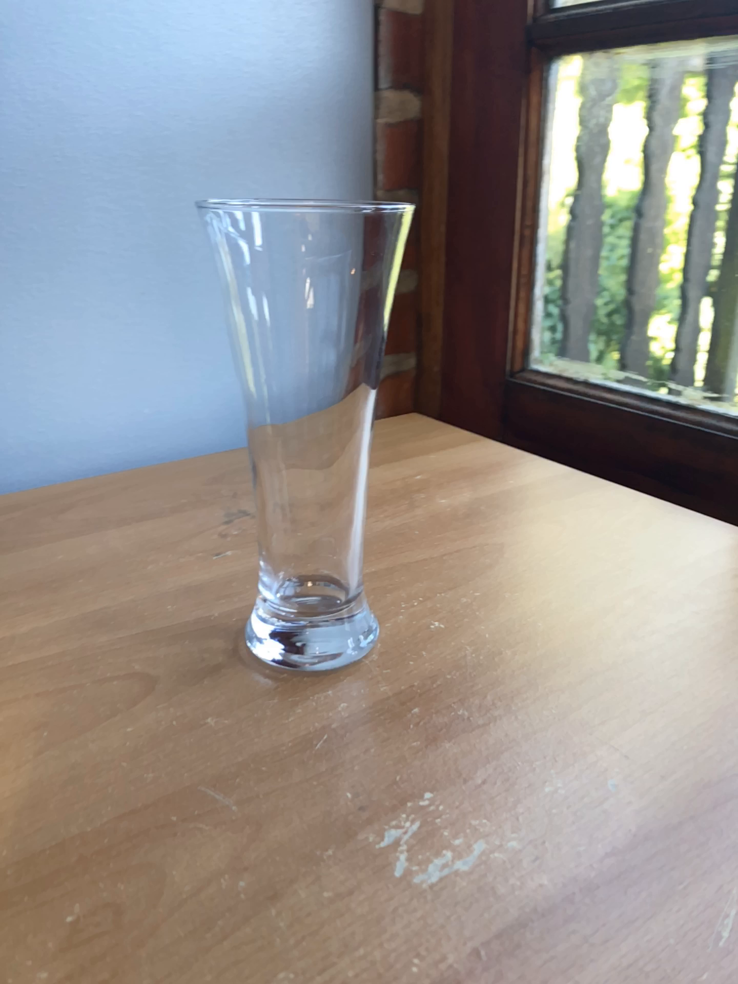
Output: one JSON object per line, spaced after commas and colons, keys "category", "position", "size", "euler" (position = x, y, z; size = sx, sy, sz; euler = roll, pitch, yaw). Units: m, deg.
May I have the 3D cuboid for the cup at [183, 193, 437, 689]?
{"category": "cup", "position": [-0.019, -0.023, 0.312], "size": [0.076, 0.168, 0.083], "euler": [2, 21, -1]}
